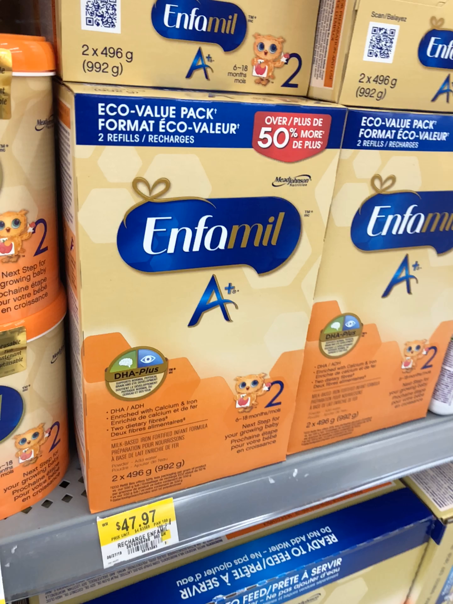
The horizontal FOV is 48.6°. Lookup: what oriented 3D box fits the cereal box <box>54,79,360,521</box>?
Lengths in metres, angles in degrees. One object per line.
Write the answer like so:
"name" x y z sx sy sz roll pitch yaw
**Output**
"cereal box" -0.023 0.000 0.313 0.140 0.238 0.080 -7 28 -25
